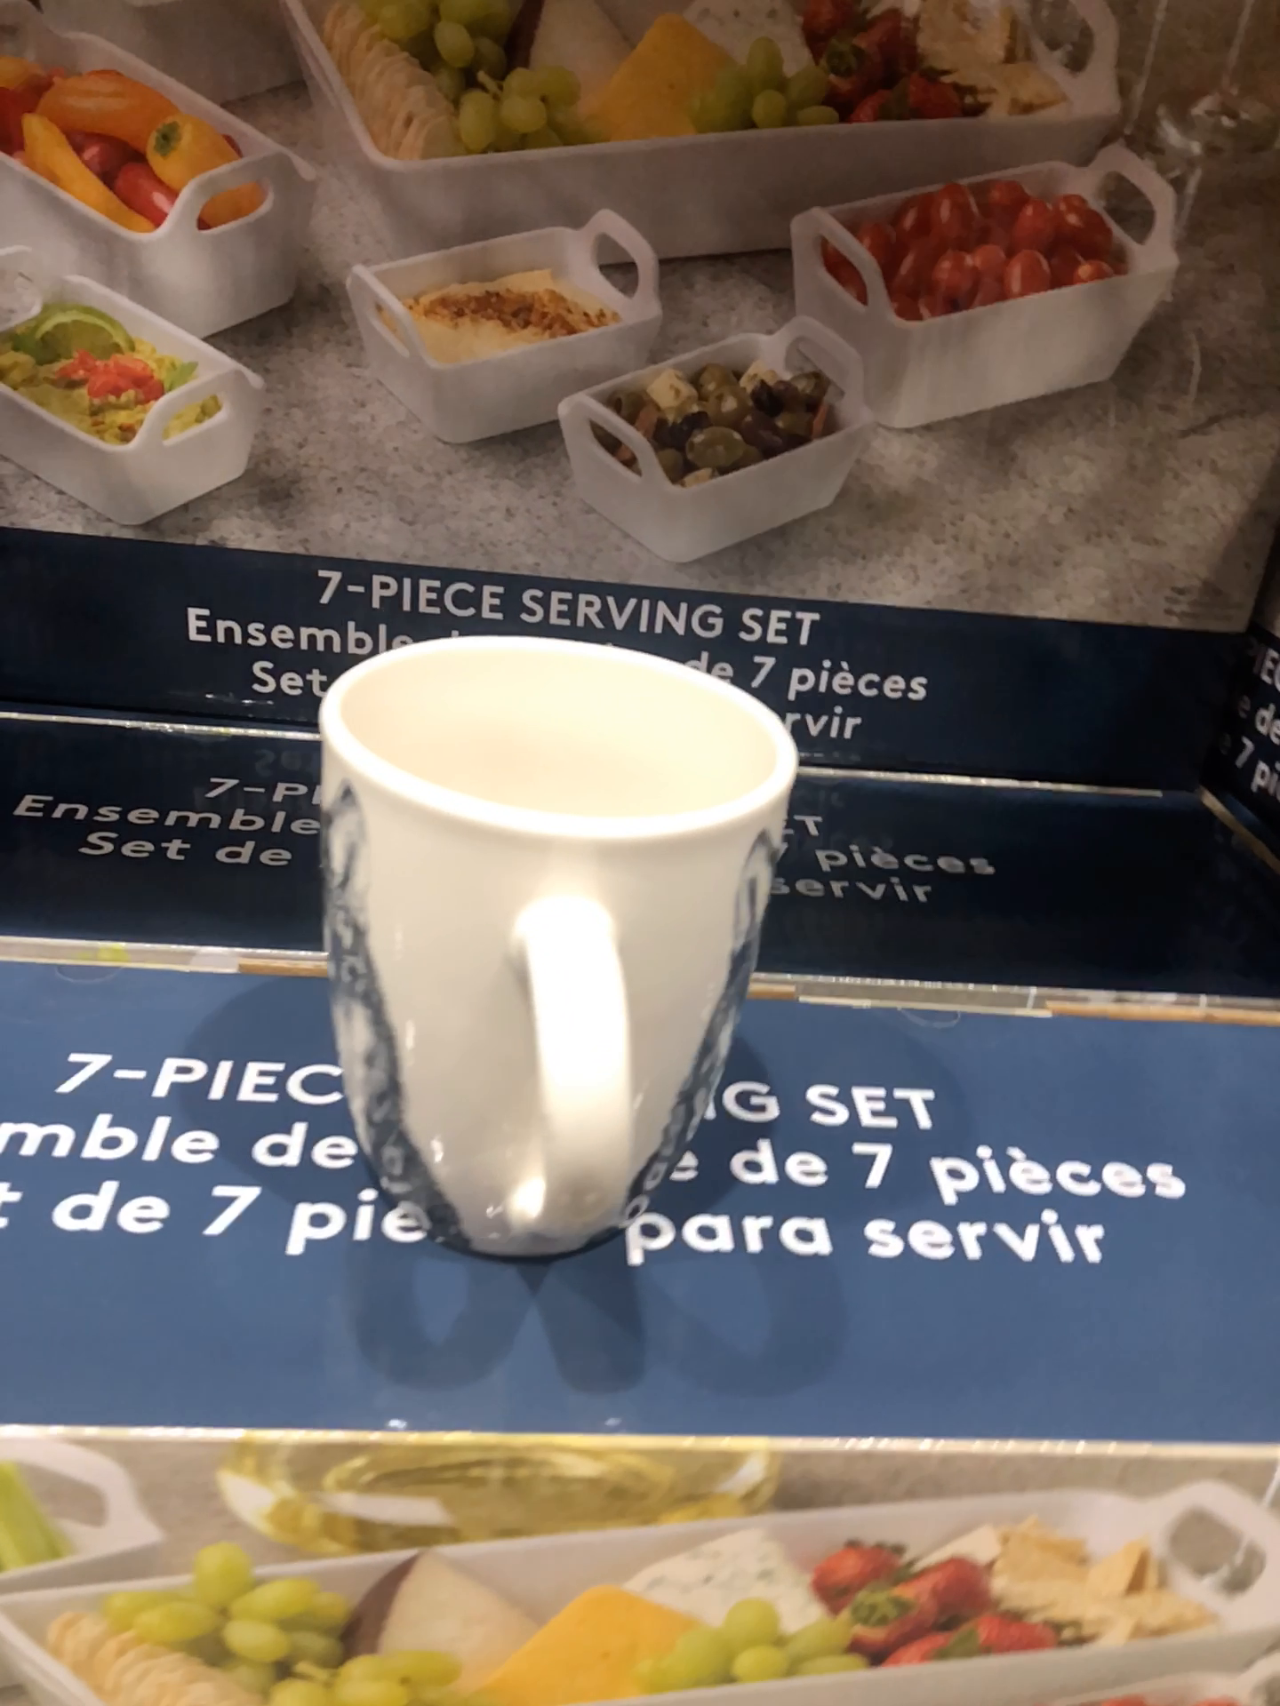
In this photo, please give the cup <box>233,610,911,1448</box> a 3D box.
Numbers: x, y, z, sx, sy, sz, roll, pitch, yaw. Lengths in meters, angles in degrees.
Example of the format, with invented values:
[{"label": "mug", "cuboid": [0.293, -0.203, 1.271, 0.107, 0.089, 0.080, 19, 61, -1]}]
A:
[{"label": "cup", "cuboid": [-0.020, 0.024, 0.272, 0.093, 0.102, 0.129, 3, 26, -8]}]
